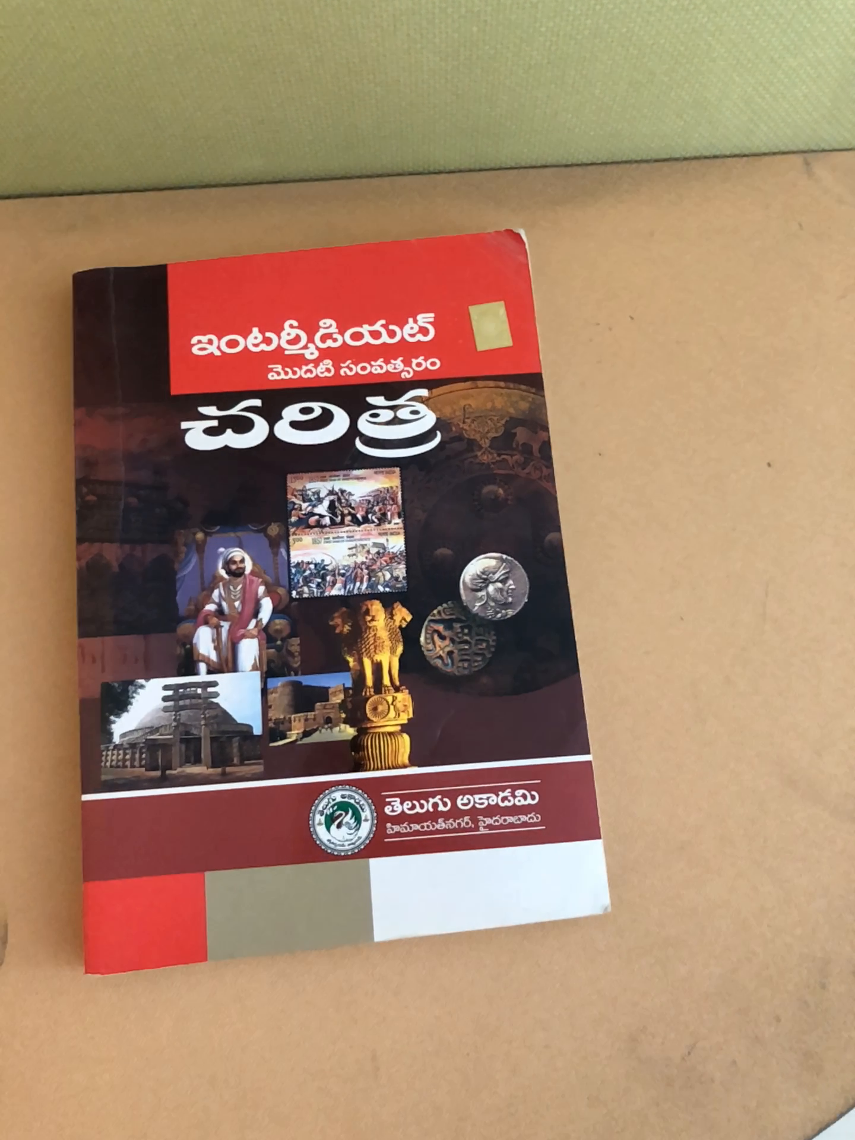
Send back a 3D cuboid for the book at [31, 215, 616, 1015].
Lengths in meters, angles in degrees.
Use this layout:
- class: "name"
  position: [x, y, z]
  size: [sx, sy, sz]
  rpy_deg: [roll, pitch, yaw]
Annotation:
- class: "book"
  position: [-0.048, 0.006, 0.375]
  size: [0.200, 0.030, 0.290]
  rpy_deg: [-5, 79, -3]
